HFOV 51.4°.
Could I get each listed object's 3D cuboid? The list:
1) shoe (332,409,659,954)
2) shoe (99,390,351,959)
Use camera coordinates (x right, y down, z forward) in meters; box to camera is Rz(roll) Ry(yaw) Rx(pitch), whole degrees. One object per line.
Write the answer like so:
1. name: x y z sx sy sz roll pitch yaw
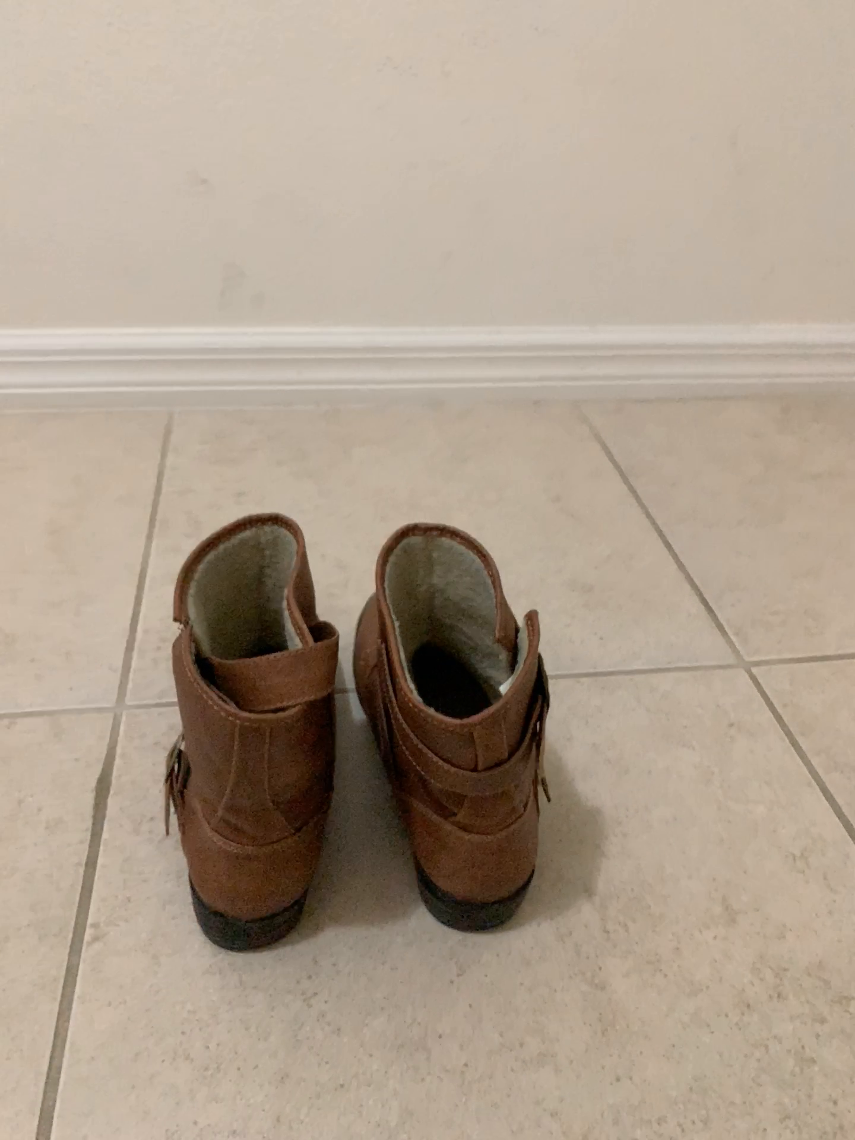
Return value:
1. shoe: 0.014 0.045 0.516 0.107 0.172 0.262 -4 36 -11
2. shoe: -0.098 0.042 0.494 0.094 0.192 0.248 -2 36 -8
